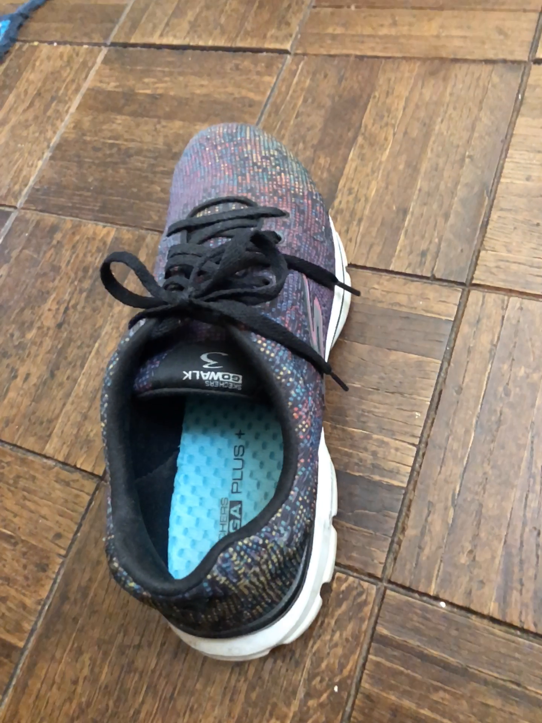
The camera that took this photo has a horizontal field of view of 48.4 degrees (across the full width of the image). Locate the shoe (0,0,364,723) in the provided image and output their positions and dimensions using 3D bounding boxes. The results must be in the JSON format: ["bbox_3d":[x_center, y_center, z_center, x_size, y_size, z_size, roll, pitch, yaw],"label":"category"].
[{"bbox_3d":[-0.021,-0.013,0.278,0.110,0.120,0.290,-3,66,14],"label":"shoe"}]
